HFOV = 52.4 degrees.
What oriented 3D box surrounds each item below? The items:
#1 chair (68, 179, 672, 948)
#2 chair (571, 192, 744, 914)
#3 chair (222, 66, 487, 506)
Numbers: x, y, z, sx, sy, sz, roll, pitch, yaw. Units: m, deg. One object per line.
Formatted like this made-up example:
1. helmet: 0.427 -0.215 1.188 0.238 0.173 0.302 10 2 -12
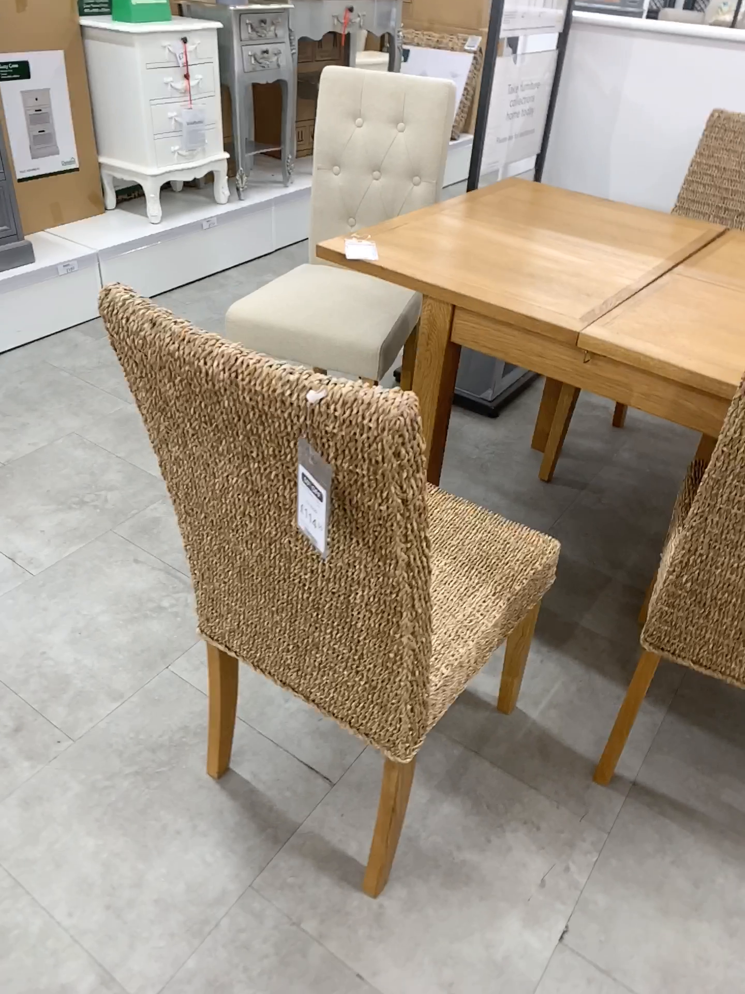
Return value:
1. chair: 0.005 0.084 1.165 0.489 0.903 0.566 24 41 25
2. chair: 0.701 0.079 1.201 0.438 0.893 0.557 20 39 21
3. chair: -0.043 -0.534 1.928 0.398 0.903 0.517 18 38 18
